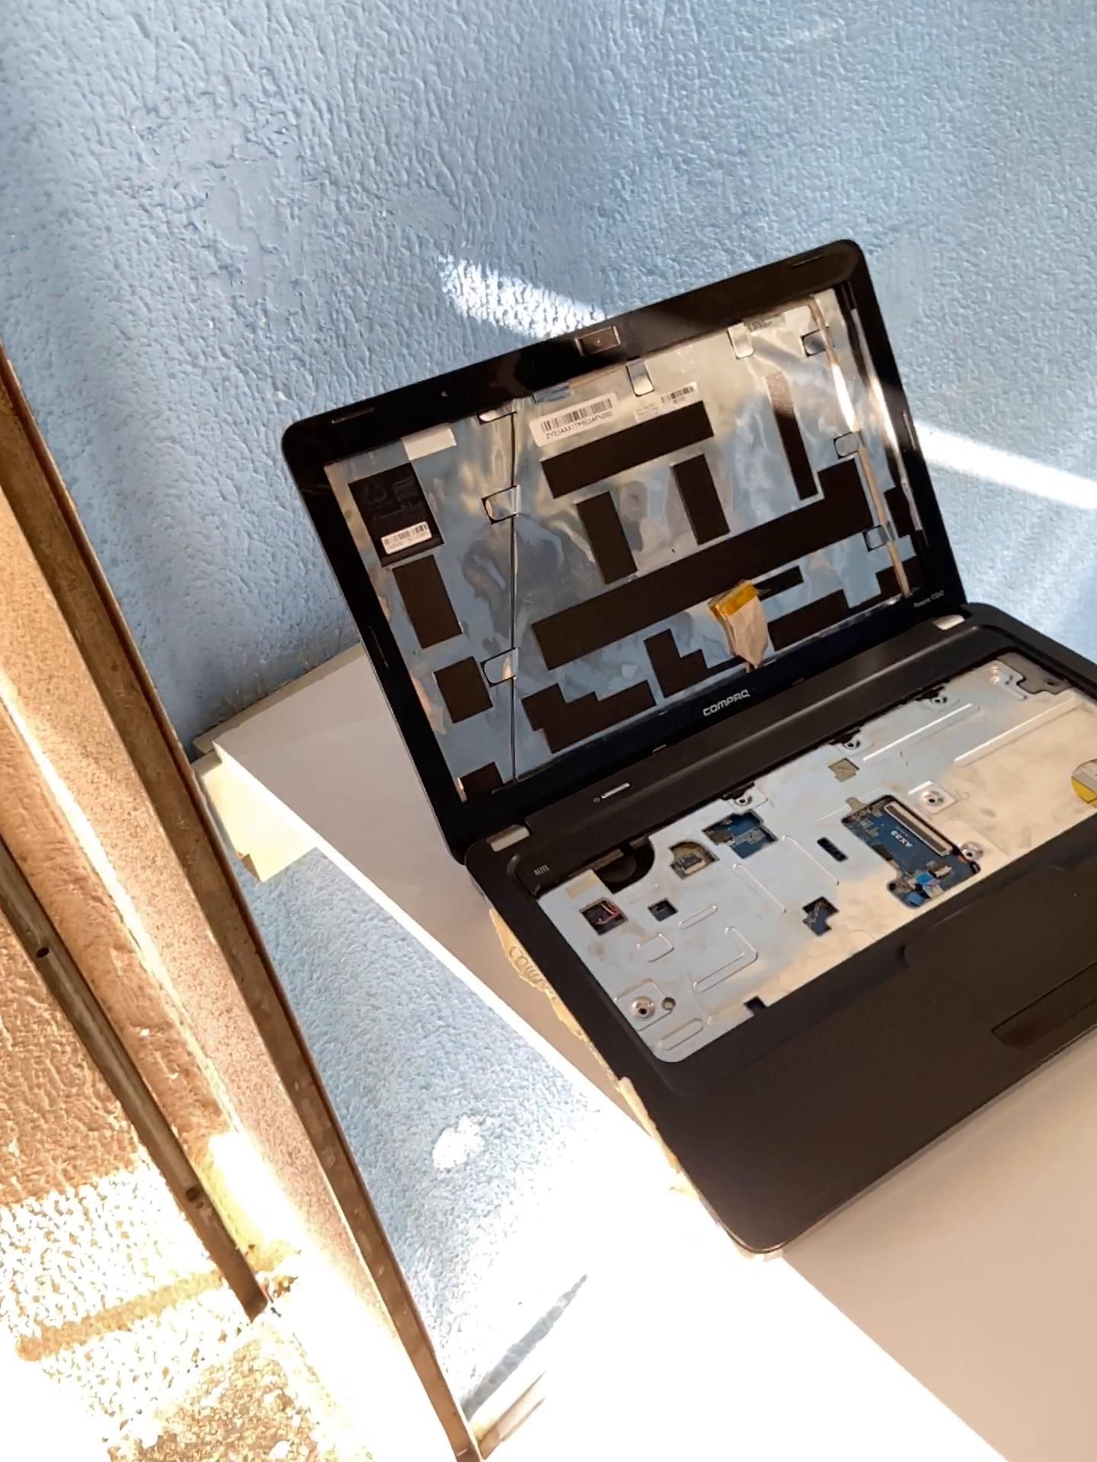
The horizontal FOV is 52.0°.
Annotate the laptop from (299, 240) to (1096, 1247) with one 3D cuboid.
[{"bbox_3d":[0.121,-0.046,0.506,0.332,0.182,0.337,-25,42,-18],"label":"laptop"}]
